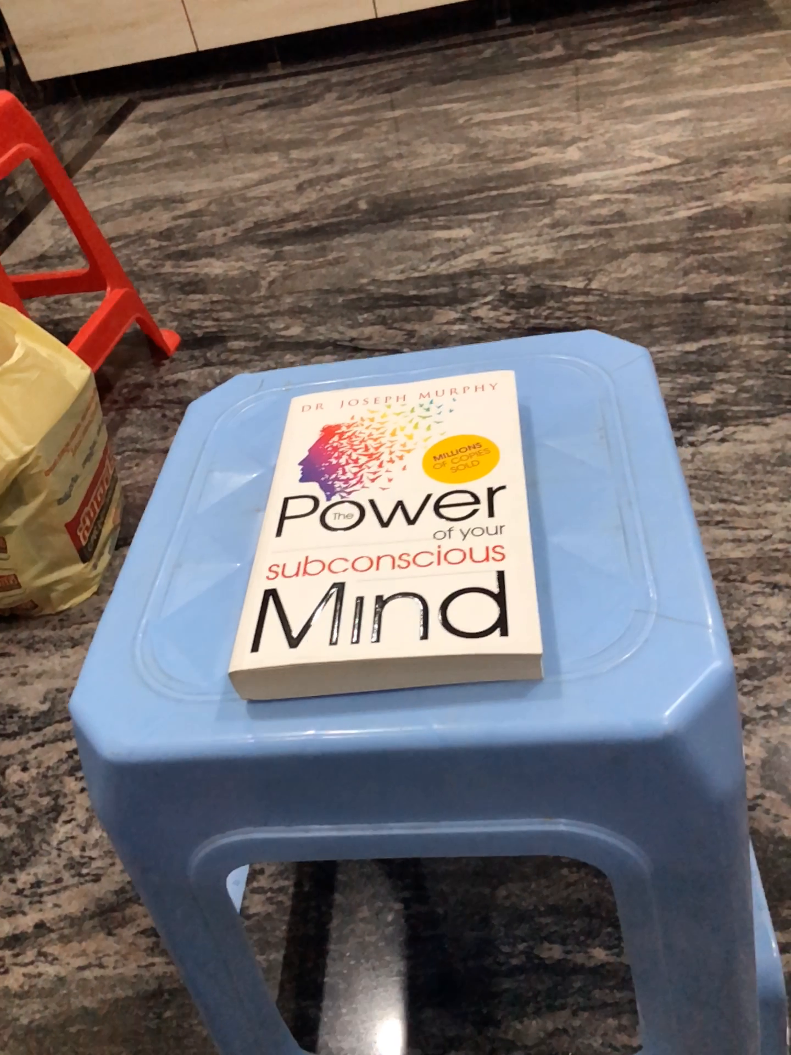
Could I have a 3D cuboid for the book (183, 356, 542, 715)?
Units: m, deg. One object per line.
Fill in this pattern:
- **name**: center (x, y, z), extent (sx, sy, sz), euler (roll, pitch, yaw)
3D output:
- **book**: center (-0.010, -0.007, 0.421), extent (0.140, 0.030, 0.201), euler (-7, 42, 8)
